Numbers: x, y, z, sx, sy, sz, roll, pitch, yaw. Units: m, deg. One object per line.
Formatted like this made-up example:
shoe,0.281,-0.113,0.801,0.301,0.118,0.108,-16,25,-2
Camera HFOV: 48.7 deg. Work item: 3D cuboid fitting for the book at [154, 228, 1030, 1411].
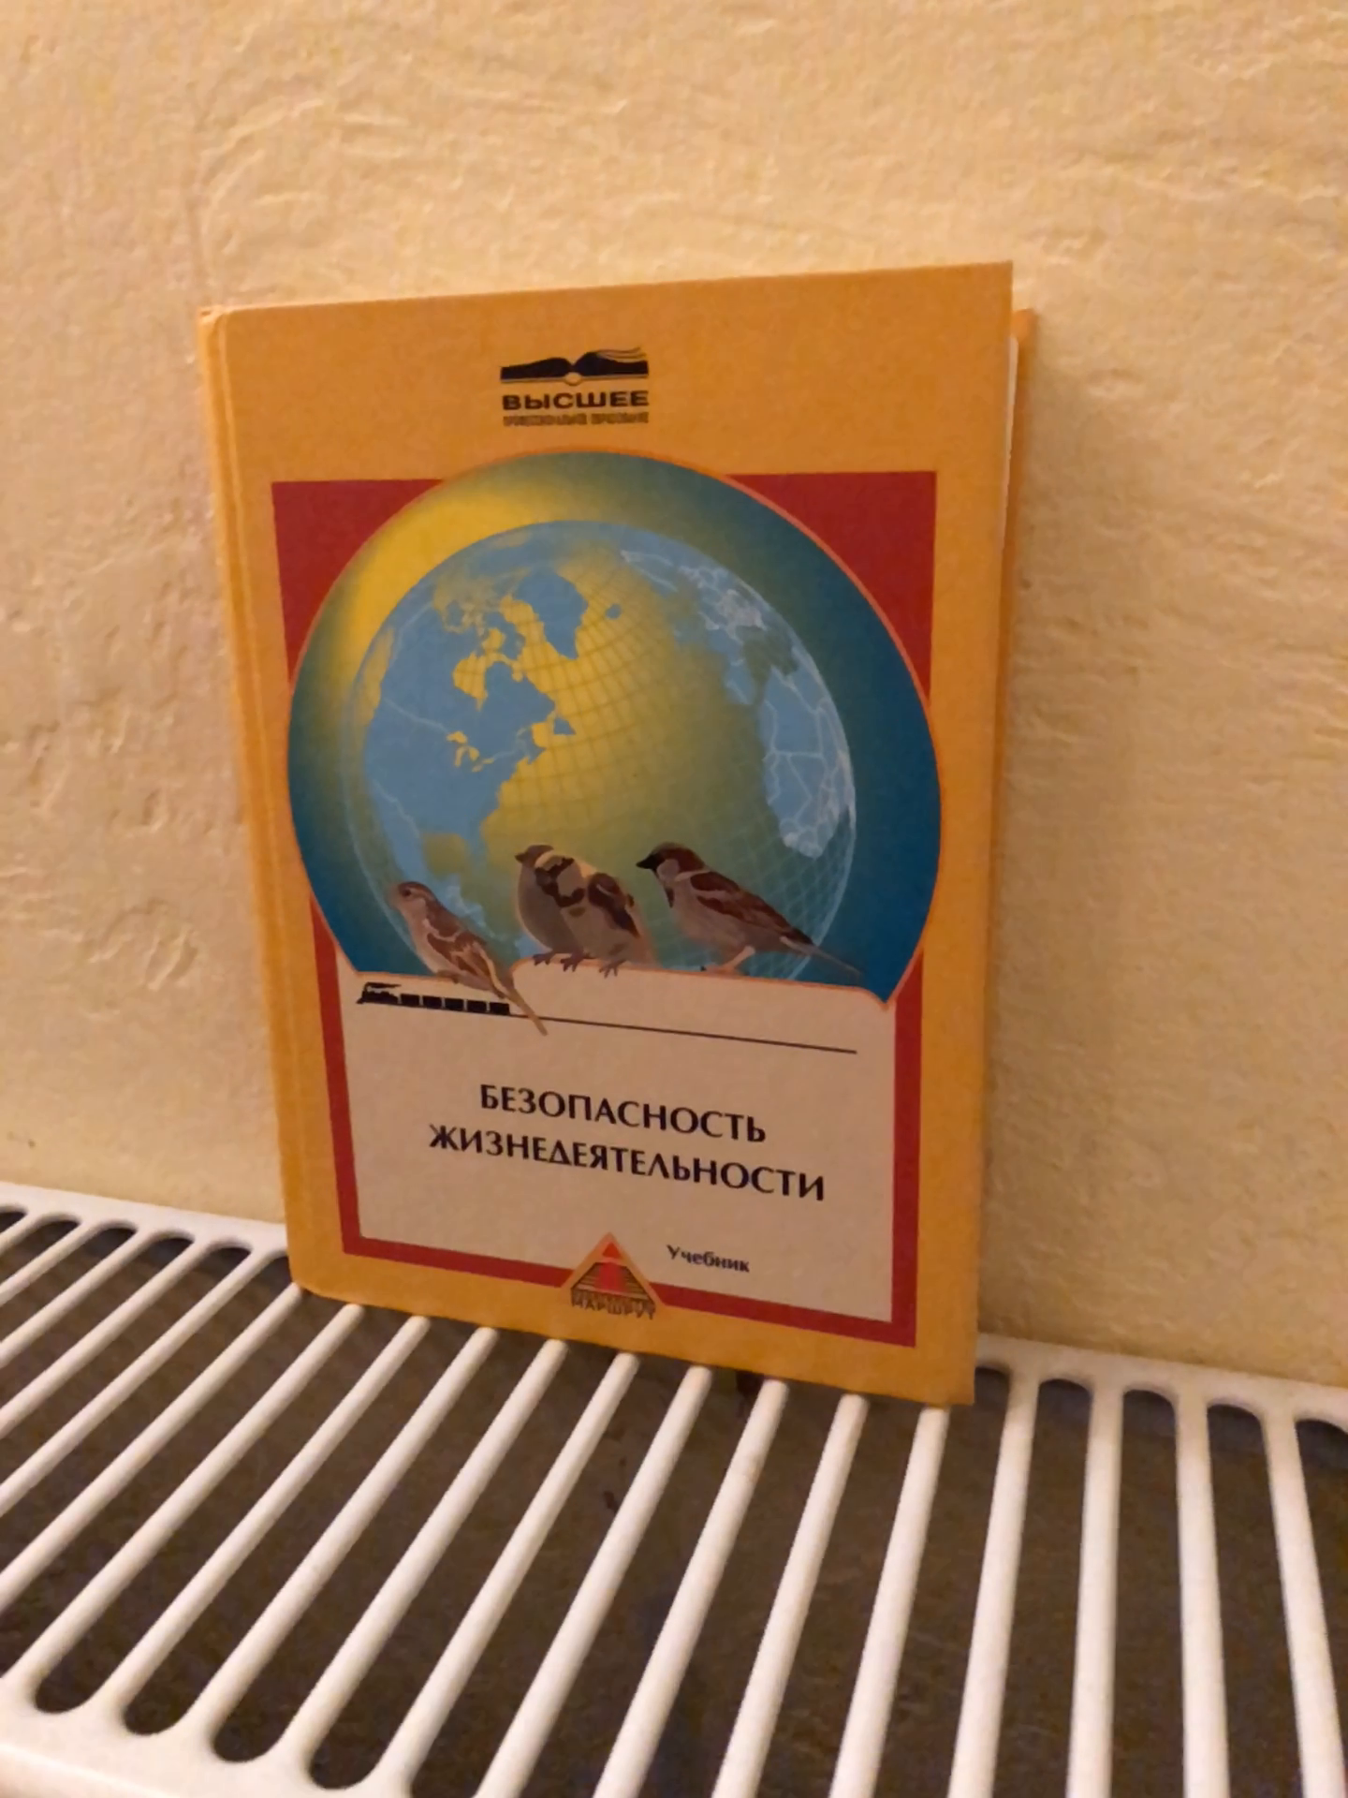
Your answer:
book,-0.012,-0.013,0.292,0.150,0.203,0.041,4,18,20
